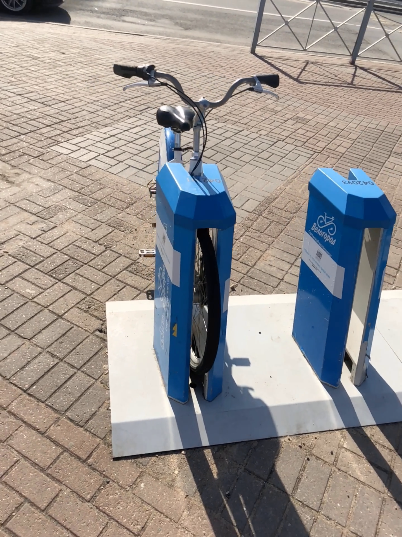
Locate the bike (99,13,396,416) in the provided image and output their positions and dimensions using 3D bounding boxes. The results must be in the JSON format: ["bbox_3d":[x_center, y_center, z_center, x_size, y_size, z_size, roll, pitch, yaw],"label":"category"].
[{"bbox_3d":[-0.110,-0.390,2.020,0.682,1.233,1.683,0,34,-12],"label":"bike"}]
